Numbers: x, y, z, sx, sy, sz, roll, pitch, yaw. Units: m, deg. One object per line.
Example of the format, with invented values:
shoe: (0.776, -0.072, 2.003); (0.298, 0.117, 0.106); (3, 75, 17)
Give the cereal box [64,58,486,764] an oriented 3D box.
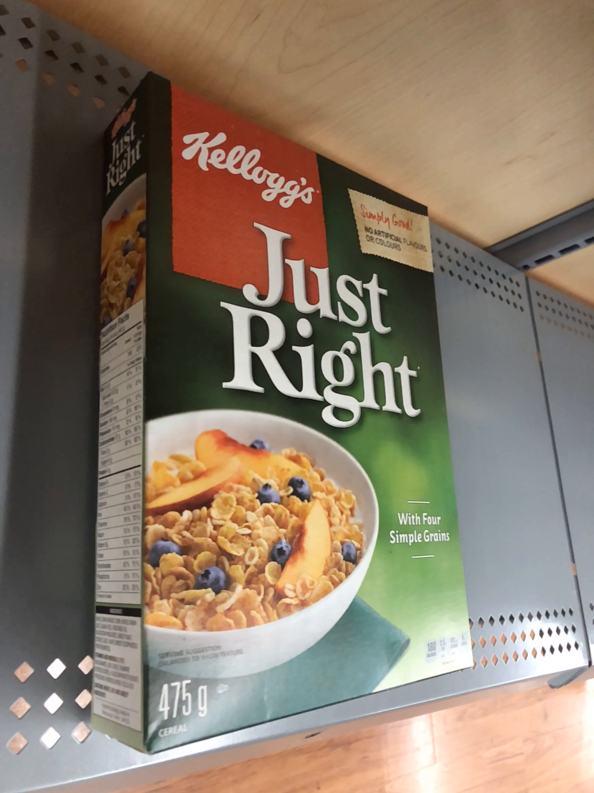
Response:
cereal box: (-0.004, 0.006, 0.331); (0.201, 0.060, 0.270); (9, 71, -41)
